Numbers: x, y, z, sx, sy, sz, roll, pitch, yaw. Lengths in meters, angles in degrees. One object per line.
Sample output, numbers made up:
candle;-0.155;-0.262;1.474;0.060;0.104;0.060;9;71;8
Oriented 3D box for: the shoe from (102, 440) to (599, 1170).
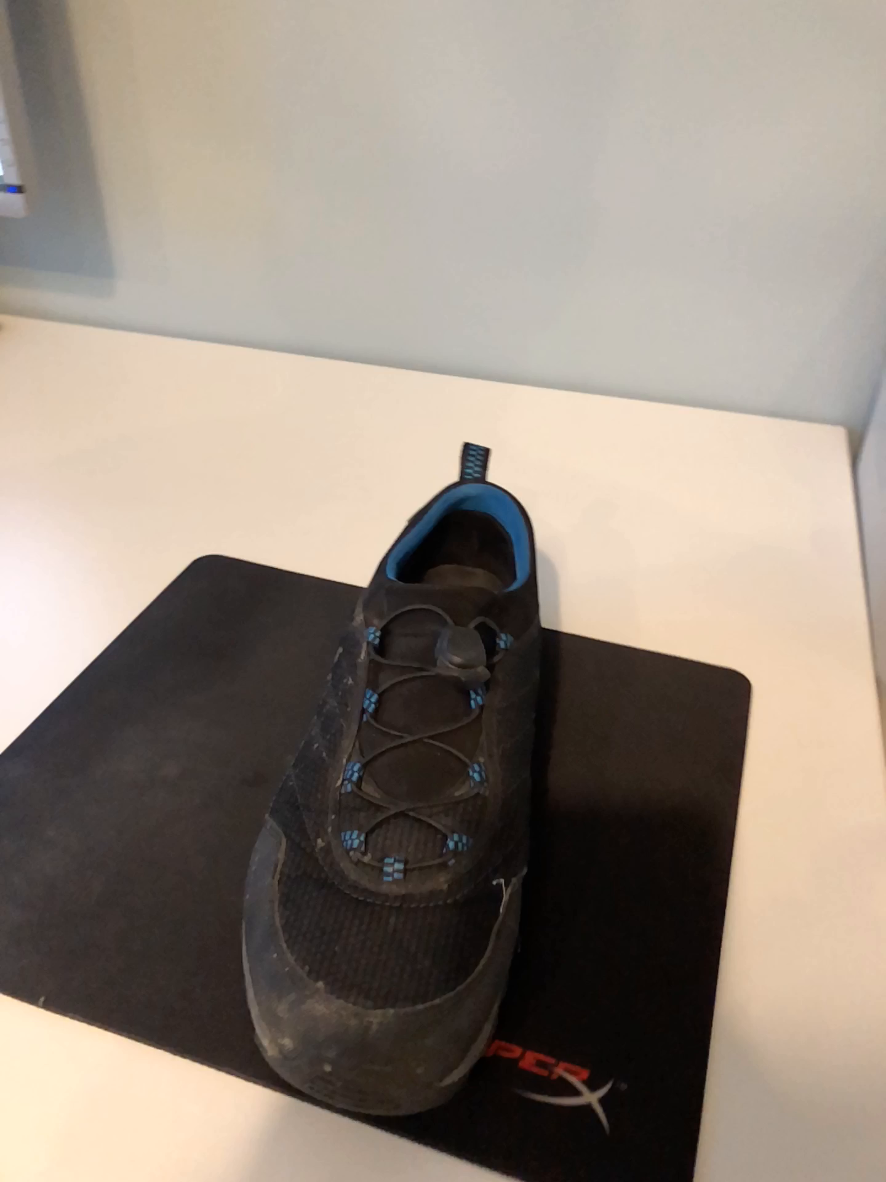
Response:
shoe;-0.010;0.059;0.430;0.130;0.109;0.302;7;37;8
